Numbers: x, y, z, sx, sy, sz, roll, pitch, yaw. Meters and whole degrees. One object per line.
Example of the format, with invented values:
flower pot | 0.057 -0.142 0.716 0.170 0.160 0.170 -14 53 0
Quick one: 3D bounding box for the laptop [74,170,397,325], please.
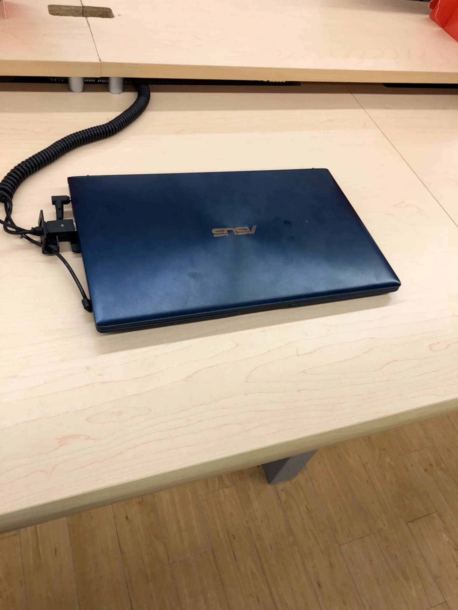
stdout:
laptop | 0.007 -0.073 0.509 0.295 0.001 0.178 -8 55 -20
